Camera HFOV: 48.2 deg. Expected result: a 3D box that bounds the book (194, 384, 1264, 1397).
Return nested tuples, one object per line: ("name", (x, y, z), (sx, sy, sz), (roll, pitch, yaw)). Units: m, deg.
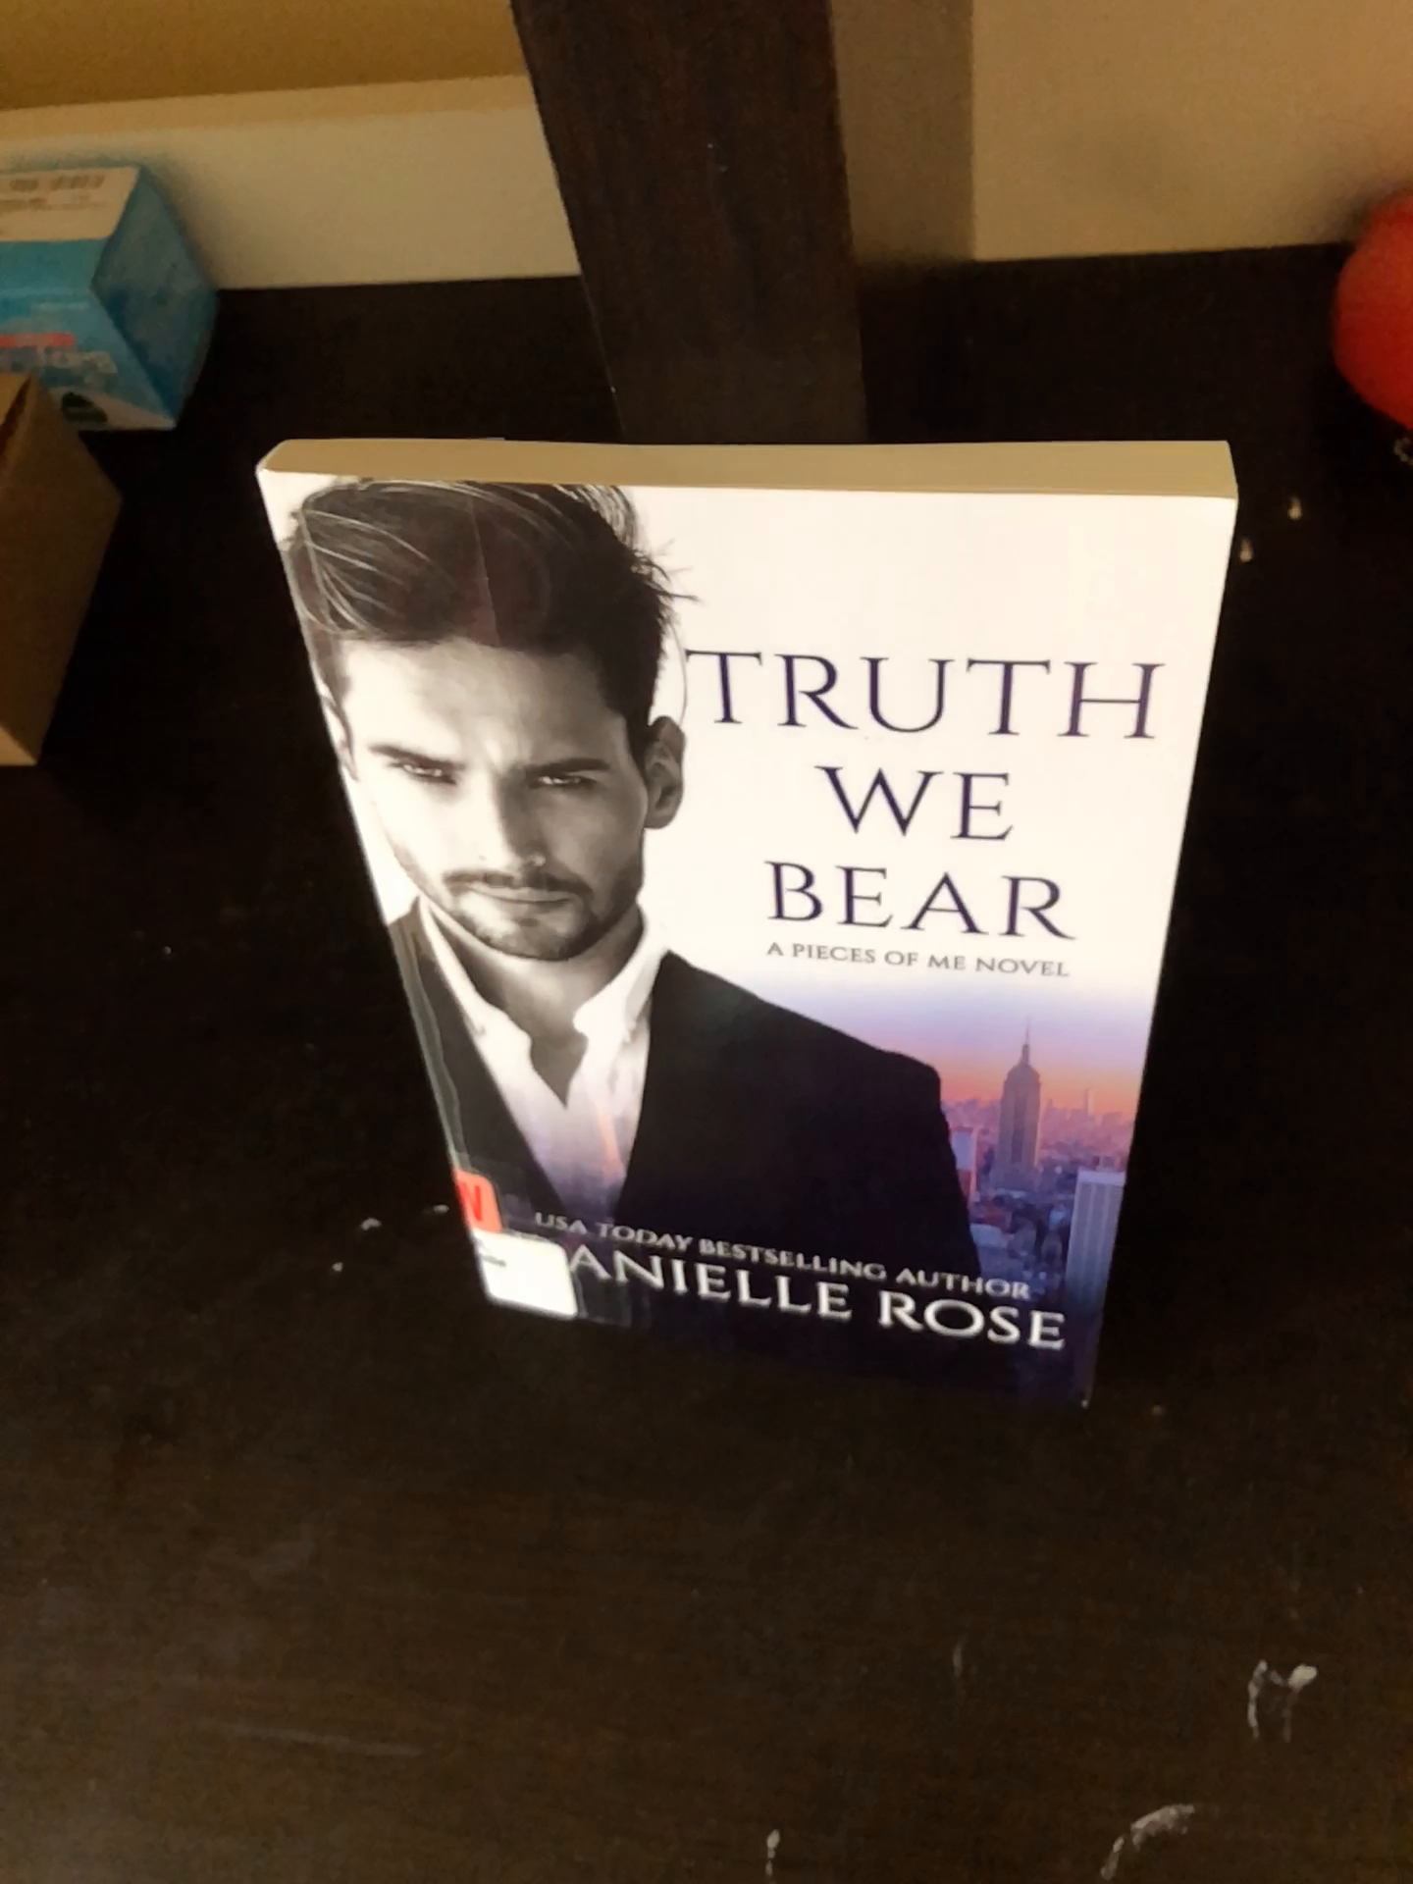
("book", (0.007, 0.007, 0.298), (0.150, 0.220, 0.020), (5, 44, 11))
